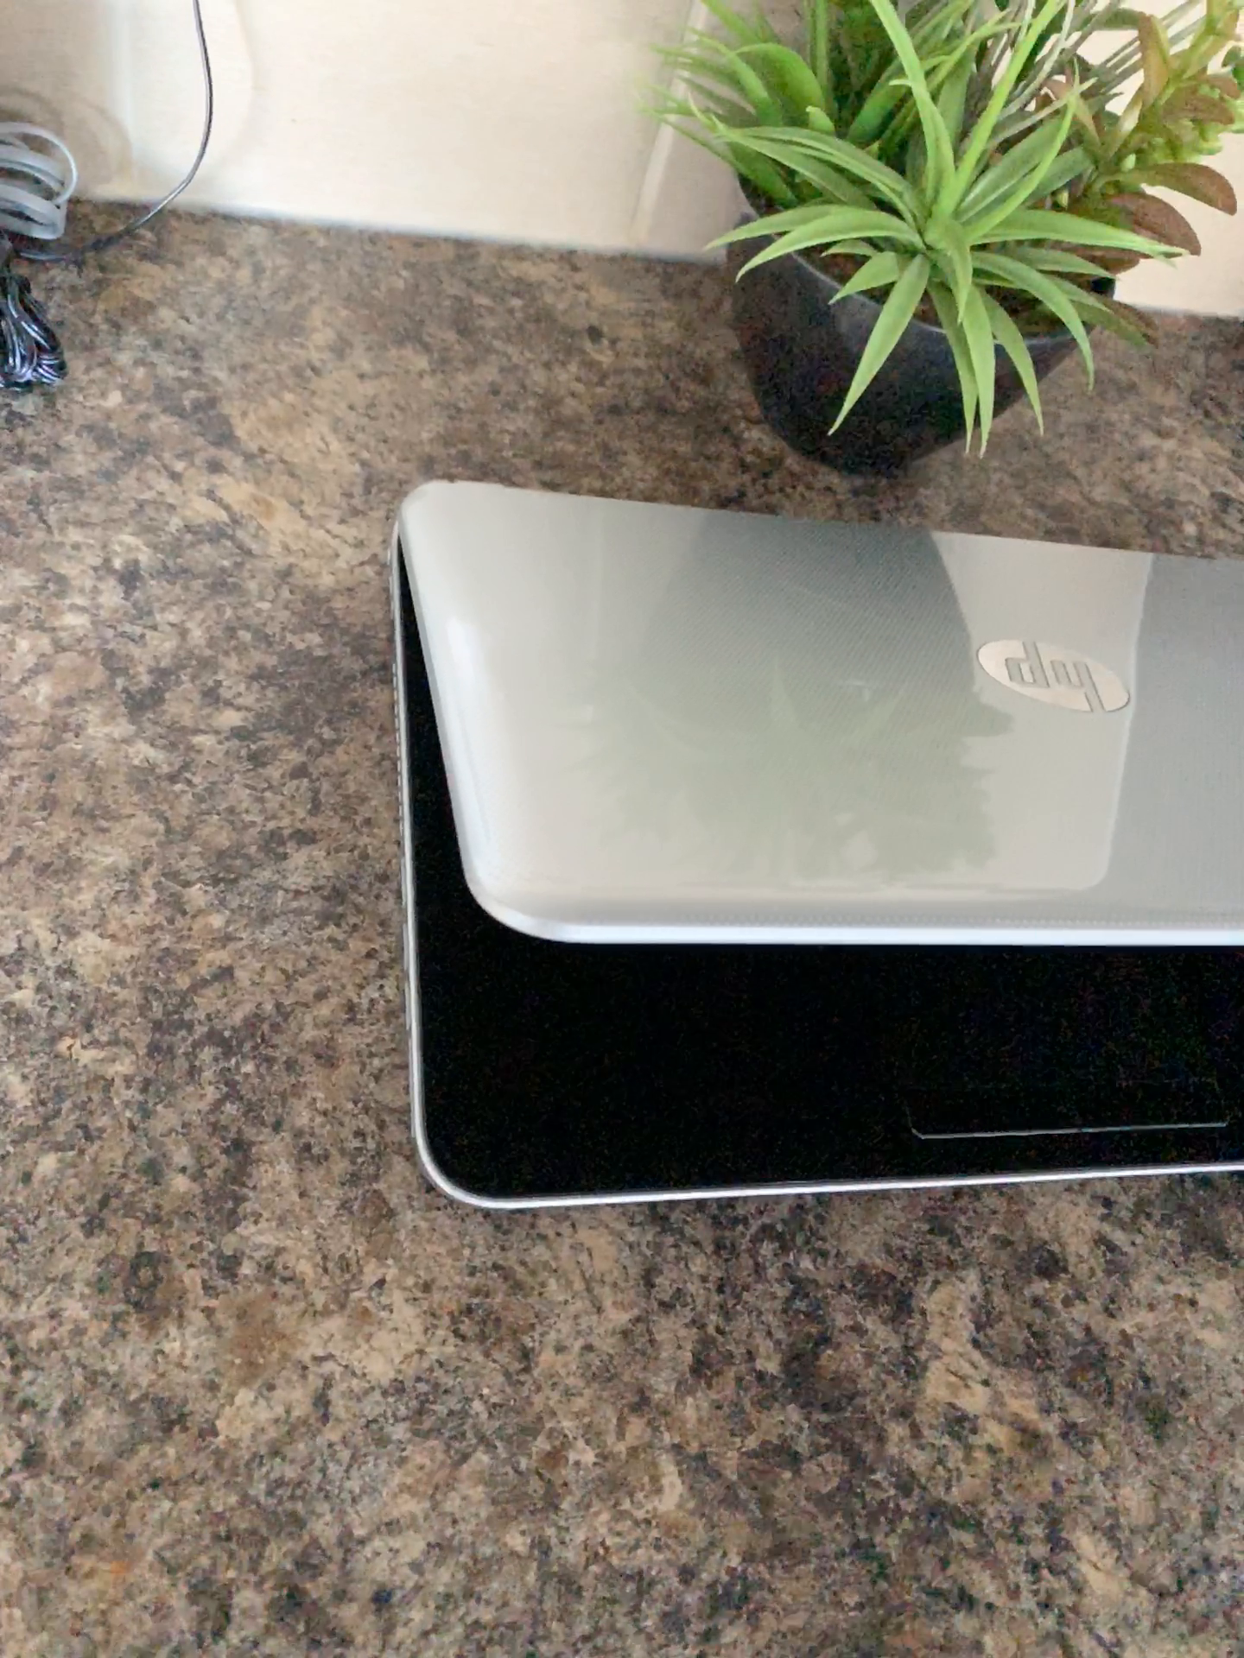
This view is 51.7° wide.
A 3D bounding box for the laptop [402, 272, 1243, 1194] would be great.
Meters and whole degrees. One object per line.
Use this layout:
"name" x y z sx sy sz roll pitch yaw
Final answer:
"laptop" 0.113 -0.029 0.348 0.328 0.081 0.207 1 57 -16
